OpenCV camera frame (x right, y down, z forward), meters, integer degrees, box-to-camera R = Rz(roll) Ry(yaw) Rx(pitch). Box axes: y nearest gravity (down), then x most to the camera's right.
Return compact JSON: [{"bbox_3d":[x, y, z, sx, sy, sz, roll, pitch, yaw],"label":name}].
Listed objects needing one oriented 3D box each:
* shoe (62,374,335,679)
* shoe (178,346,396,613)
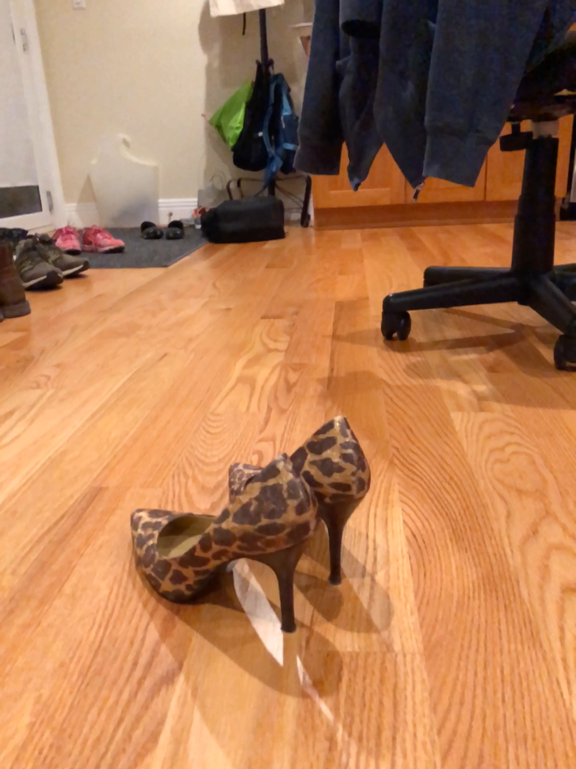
[{"bbox_3d":[-0.075,0.091,0.492,0.084,0.144,0.219,-19,25,-41],"label":"shoe"},{"bbox_3d":[-0.010,0.065,0.558,0.084,0.144,0.219,-13,21,-29],"label":"shoe"}]
